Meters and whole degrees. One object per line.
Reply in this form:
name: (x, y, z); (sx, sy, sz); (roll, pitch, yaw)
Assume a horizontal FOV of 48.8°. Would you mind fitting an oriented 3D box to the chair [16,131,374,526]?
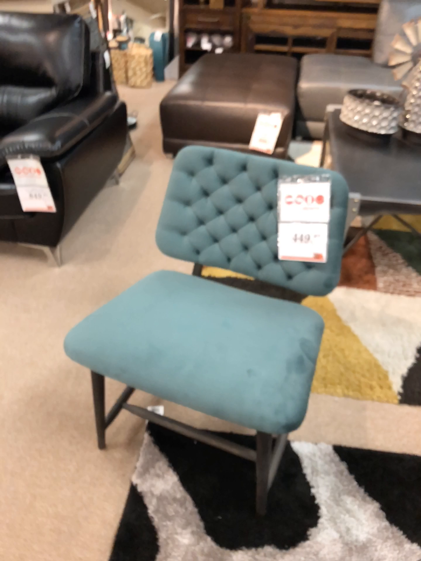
chair: (-0.009, 0.112, 1.270); (0.640, 0.765, 0.534); (16, 40, 16)
